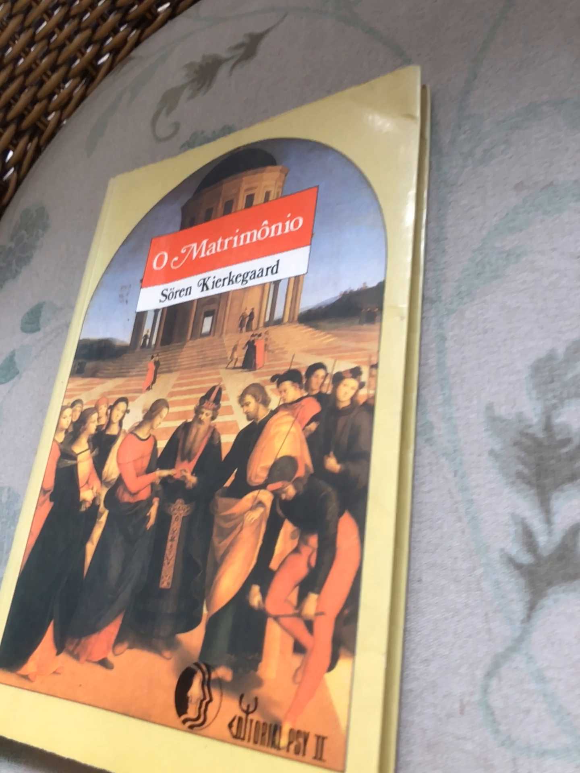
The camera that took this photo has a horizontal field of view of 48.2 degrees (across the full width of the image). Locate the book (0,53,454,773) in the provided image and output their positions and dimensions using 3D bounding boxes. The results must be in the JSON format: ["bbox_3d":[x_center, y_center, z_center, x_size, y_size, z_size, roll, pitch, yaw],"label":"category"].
[{"bbox_3d":[-0.025,0.007,0.200,0.141,0.020,0.200,-5,67,33],"label":"book"}]
